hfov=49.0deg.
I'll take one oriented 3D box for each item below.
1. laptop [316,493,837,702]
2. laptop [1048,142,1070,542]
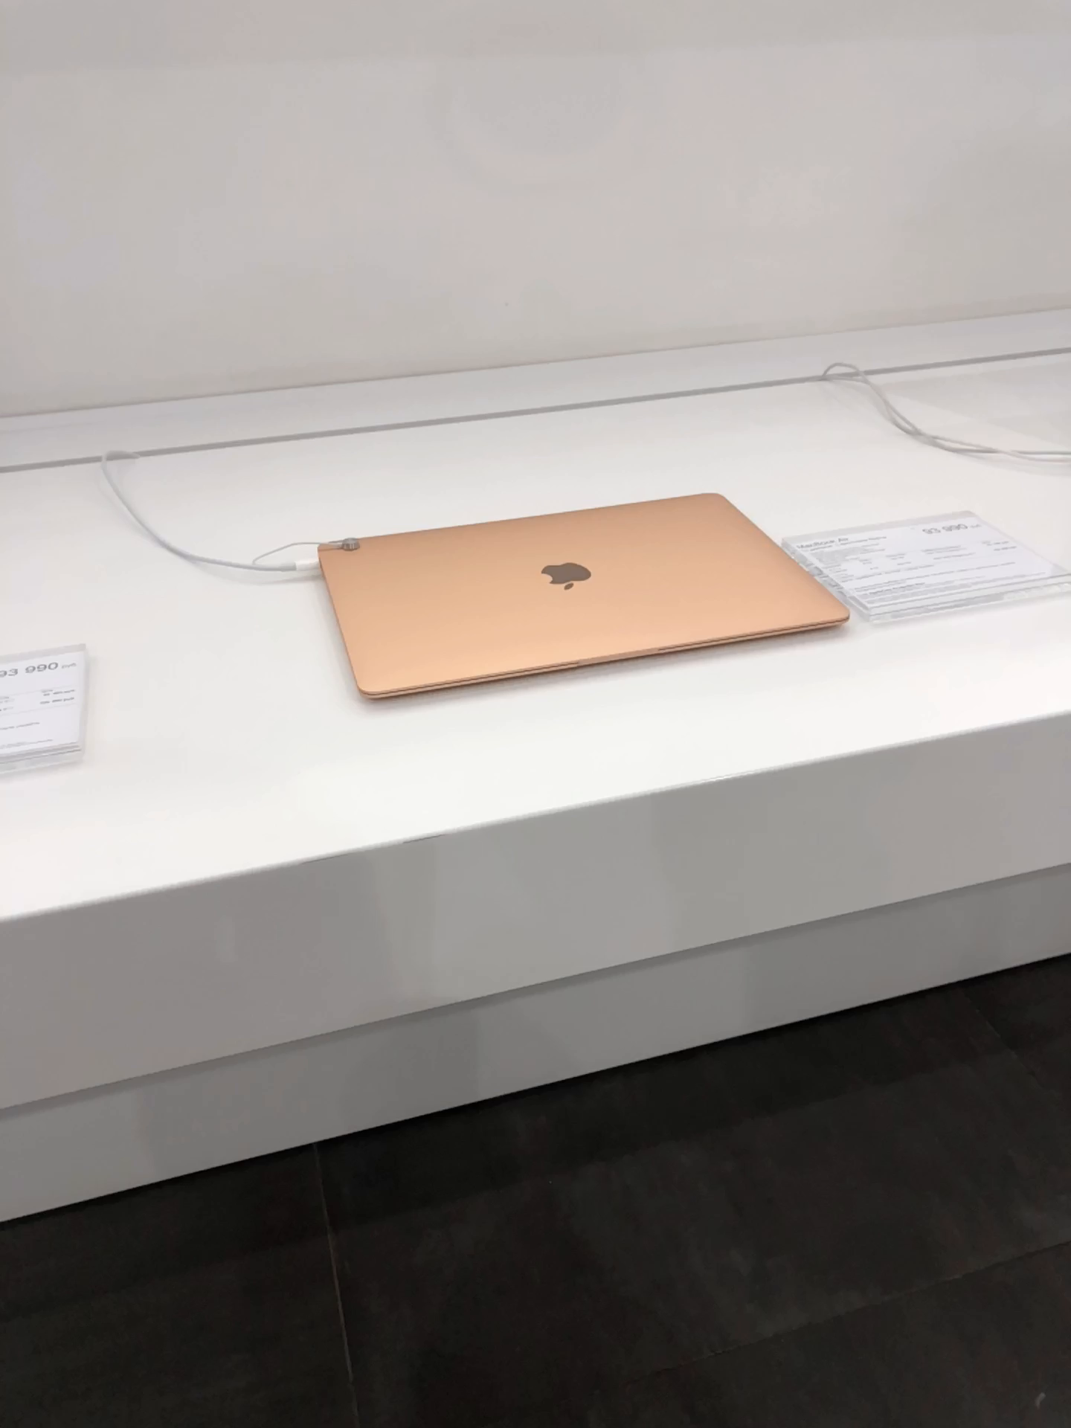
[{"bbox_3d":[0.016,-0.086,0.769,0.293,0.005,0.202,-10,33,-13],"label":"laptop"},{"bbox_3d":[0.637,-0.295,0.880,0.345,0.213,0.258,-10,32,-16],"label":"laptop"}]
